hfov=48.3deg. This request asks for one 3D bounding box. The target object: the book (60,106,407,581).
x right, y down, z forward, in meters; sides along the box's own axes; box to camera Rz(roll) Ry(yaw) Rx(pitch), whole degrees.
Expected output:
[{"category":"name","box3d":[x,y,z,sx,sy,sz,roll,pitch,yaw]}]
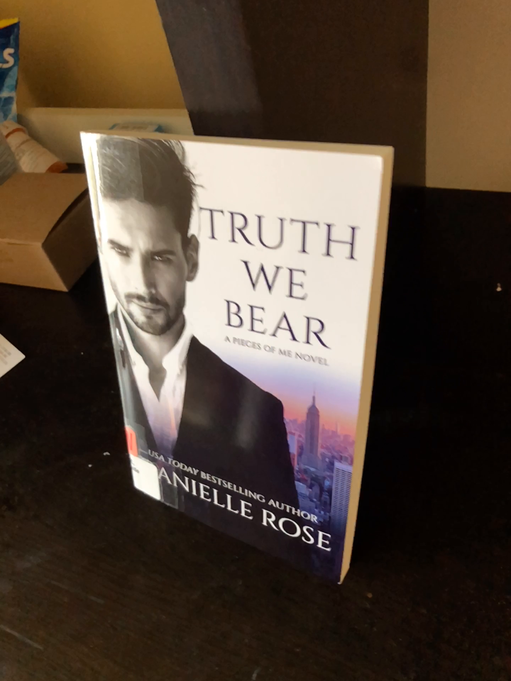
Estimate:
[{"category":"book","box3d":[-0.015,0.006,0.281,0.150,0.220,0.020,14,32,25]}]
